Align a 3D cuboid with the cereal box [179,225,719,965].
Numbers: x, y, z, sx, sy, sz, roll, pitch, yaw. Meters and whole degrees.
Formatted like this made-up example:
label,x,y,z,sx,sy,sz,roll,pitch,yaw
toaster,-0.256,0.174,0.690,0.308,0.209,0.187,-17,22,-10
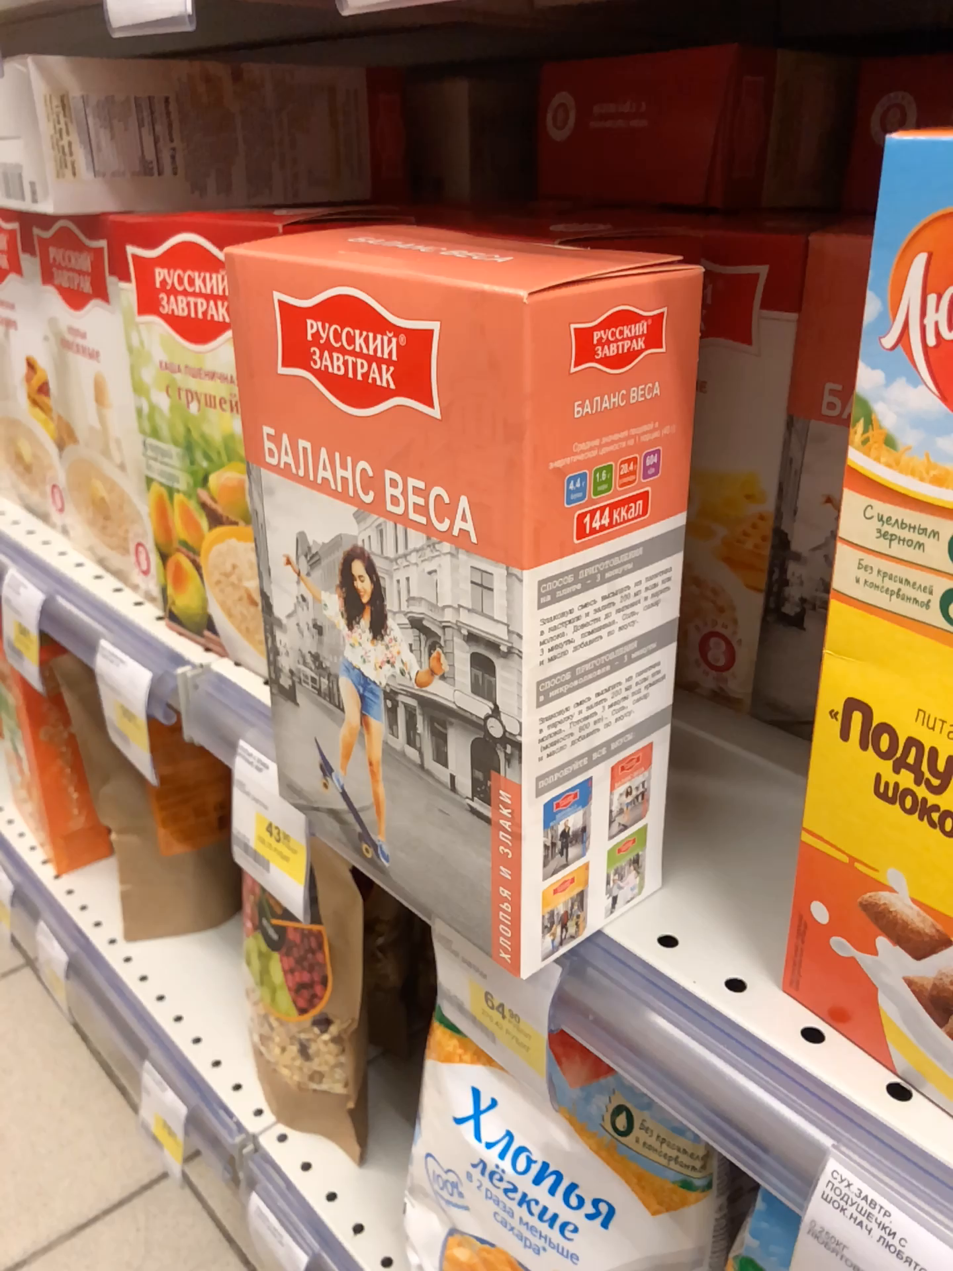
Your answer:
label,x,y,z,sx,sy,sz,roll,pitch,yaw
cereal box,-0.013,-0.023,0.321,0.070,0.179,0.140,-21,32,-37
